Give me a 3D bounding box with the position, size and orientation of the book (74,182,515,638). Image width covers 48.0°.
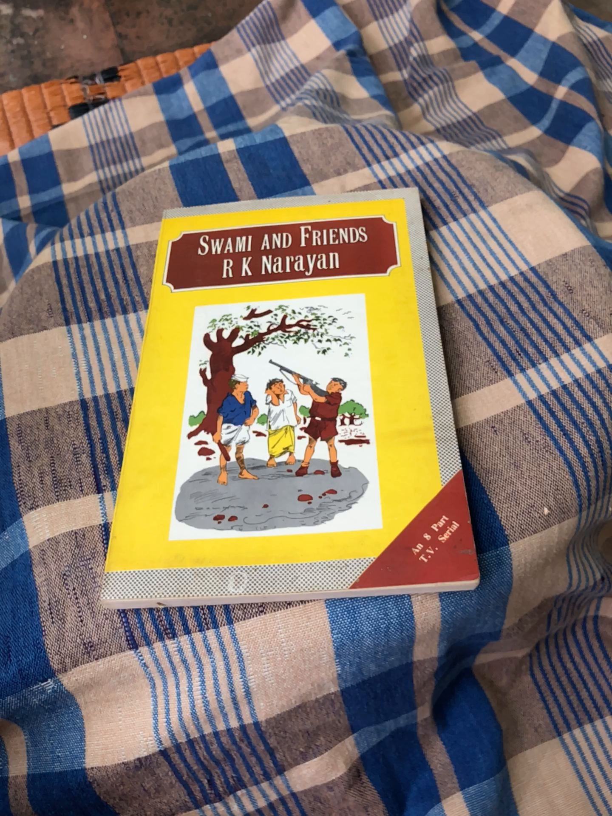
[{"bbox_3d":[-0.004,-0.013,0.264,0.130,0.020,0.191,-3,55,5],"label":"book"}]
